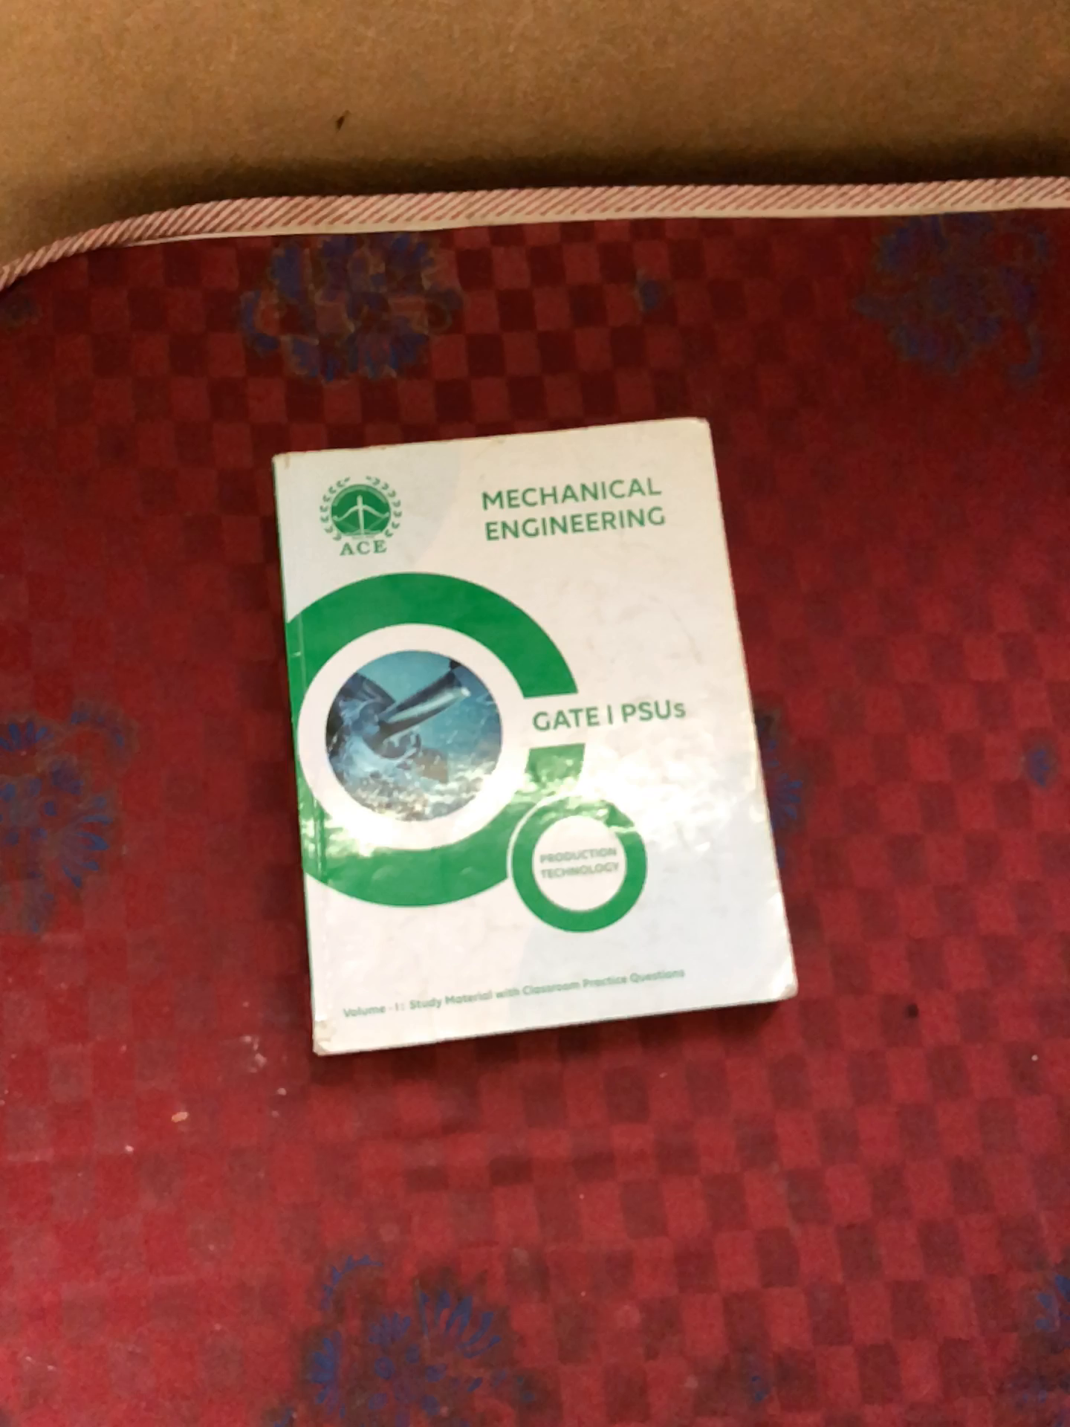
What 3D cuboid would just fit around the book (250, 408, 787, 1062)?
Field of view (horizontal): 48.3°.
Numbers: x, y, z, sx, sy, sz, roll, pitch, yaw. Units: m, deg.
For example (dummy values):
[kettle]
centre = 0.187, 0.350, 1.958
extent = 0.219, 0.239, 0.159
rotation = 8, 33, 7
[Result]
[book]
centre = -0.013, 0.002, 0.550
extent = 0.210, 0.030, 0.280
rotation = -6, 77, -5
